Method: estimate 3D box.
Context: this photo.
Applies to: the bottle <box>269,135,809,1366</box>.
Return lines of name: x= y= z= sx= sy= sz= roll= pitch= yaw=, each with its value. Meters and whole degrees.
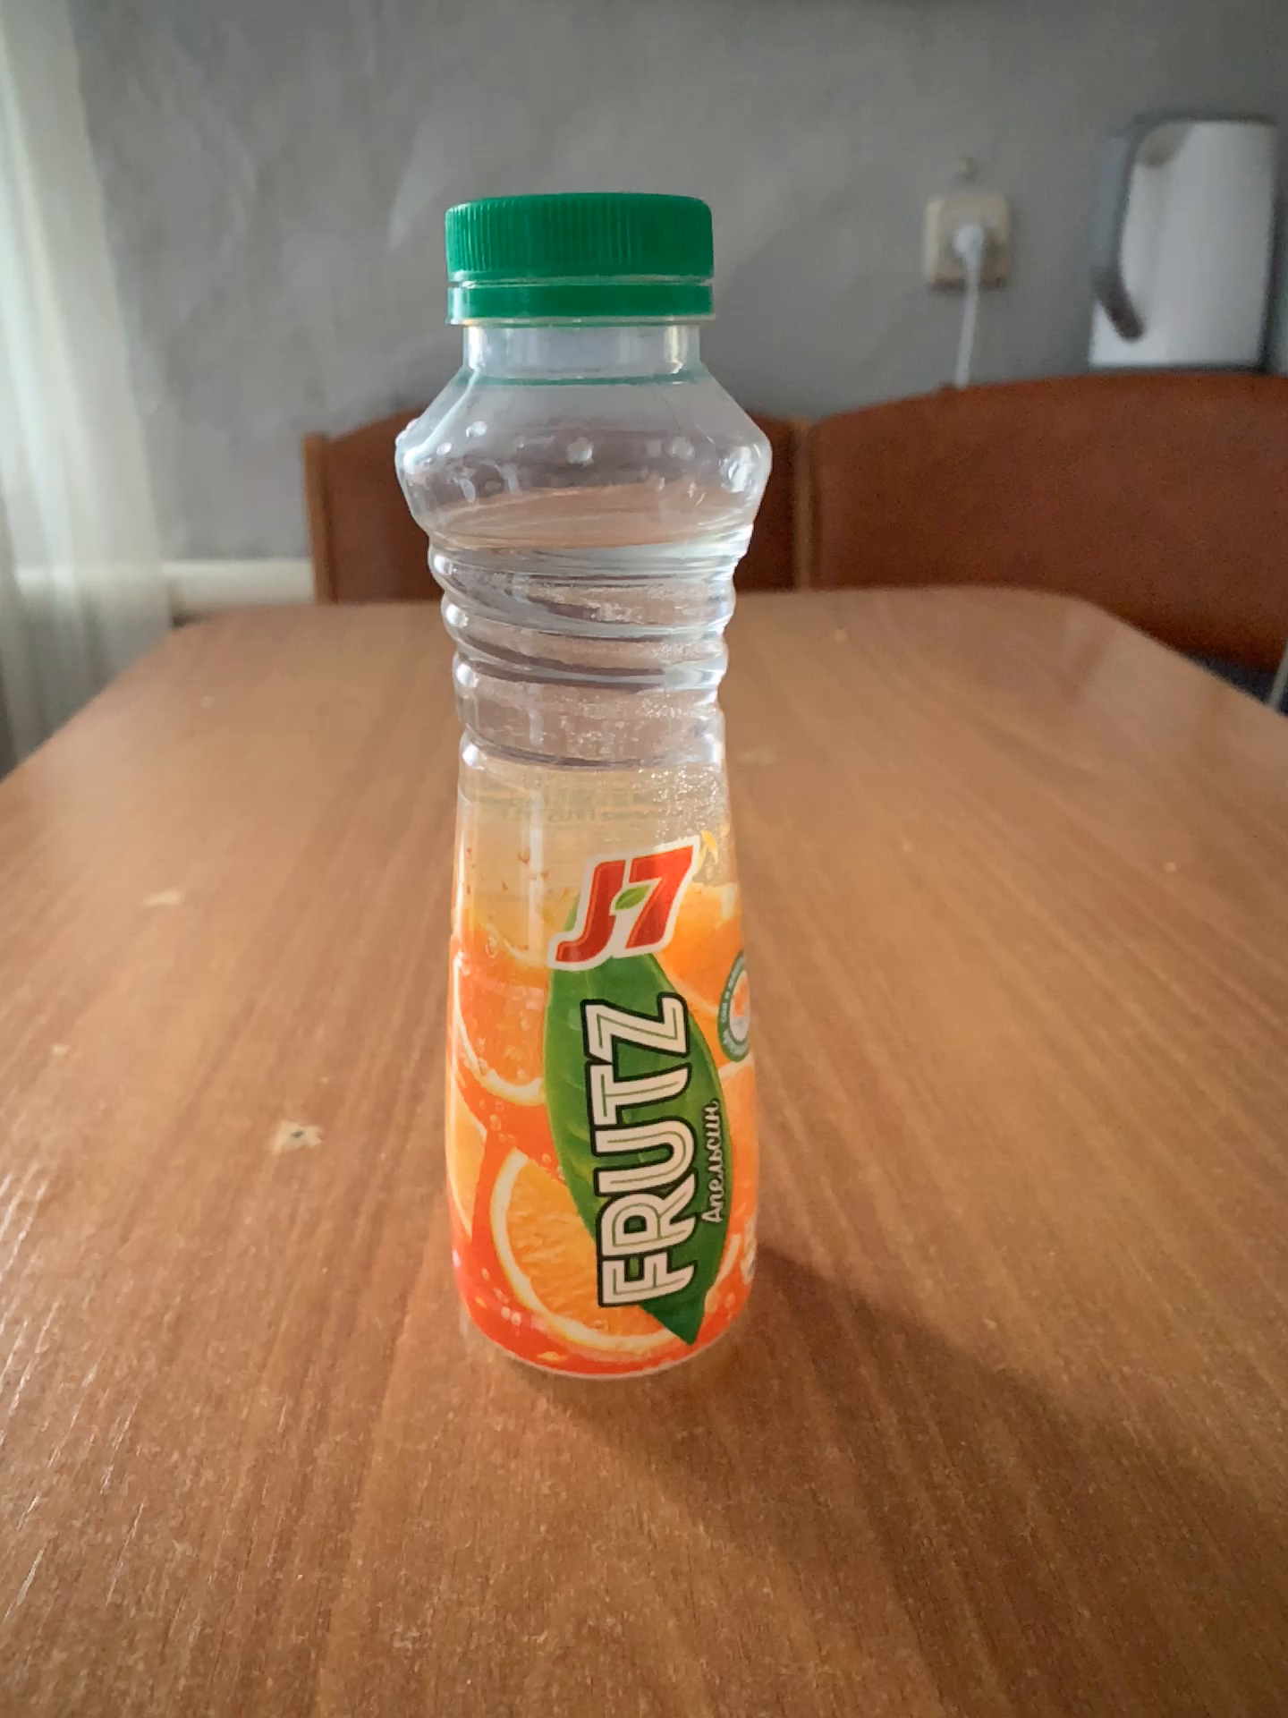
bottle: x=-0.011 y=-0.013 z=0.244 sx=0.070 sy=0.201 sz=0.071 roll=-1 pitch=22 yaw=0
